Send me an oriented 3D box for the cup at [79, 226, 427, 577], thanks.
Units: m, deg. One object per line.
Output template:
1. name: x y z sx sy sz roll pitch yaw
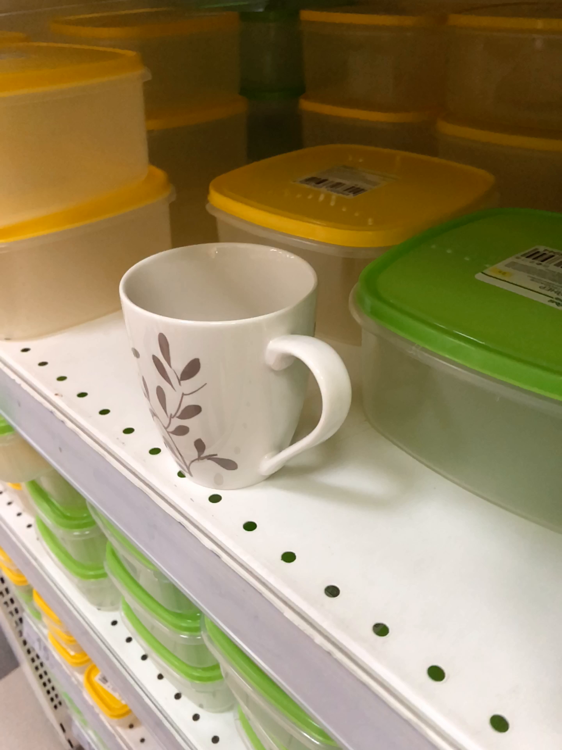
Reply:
1. cup: -0.012 0.003 0.289 0.121 0.097 0.086 24 43 35
